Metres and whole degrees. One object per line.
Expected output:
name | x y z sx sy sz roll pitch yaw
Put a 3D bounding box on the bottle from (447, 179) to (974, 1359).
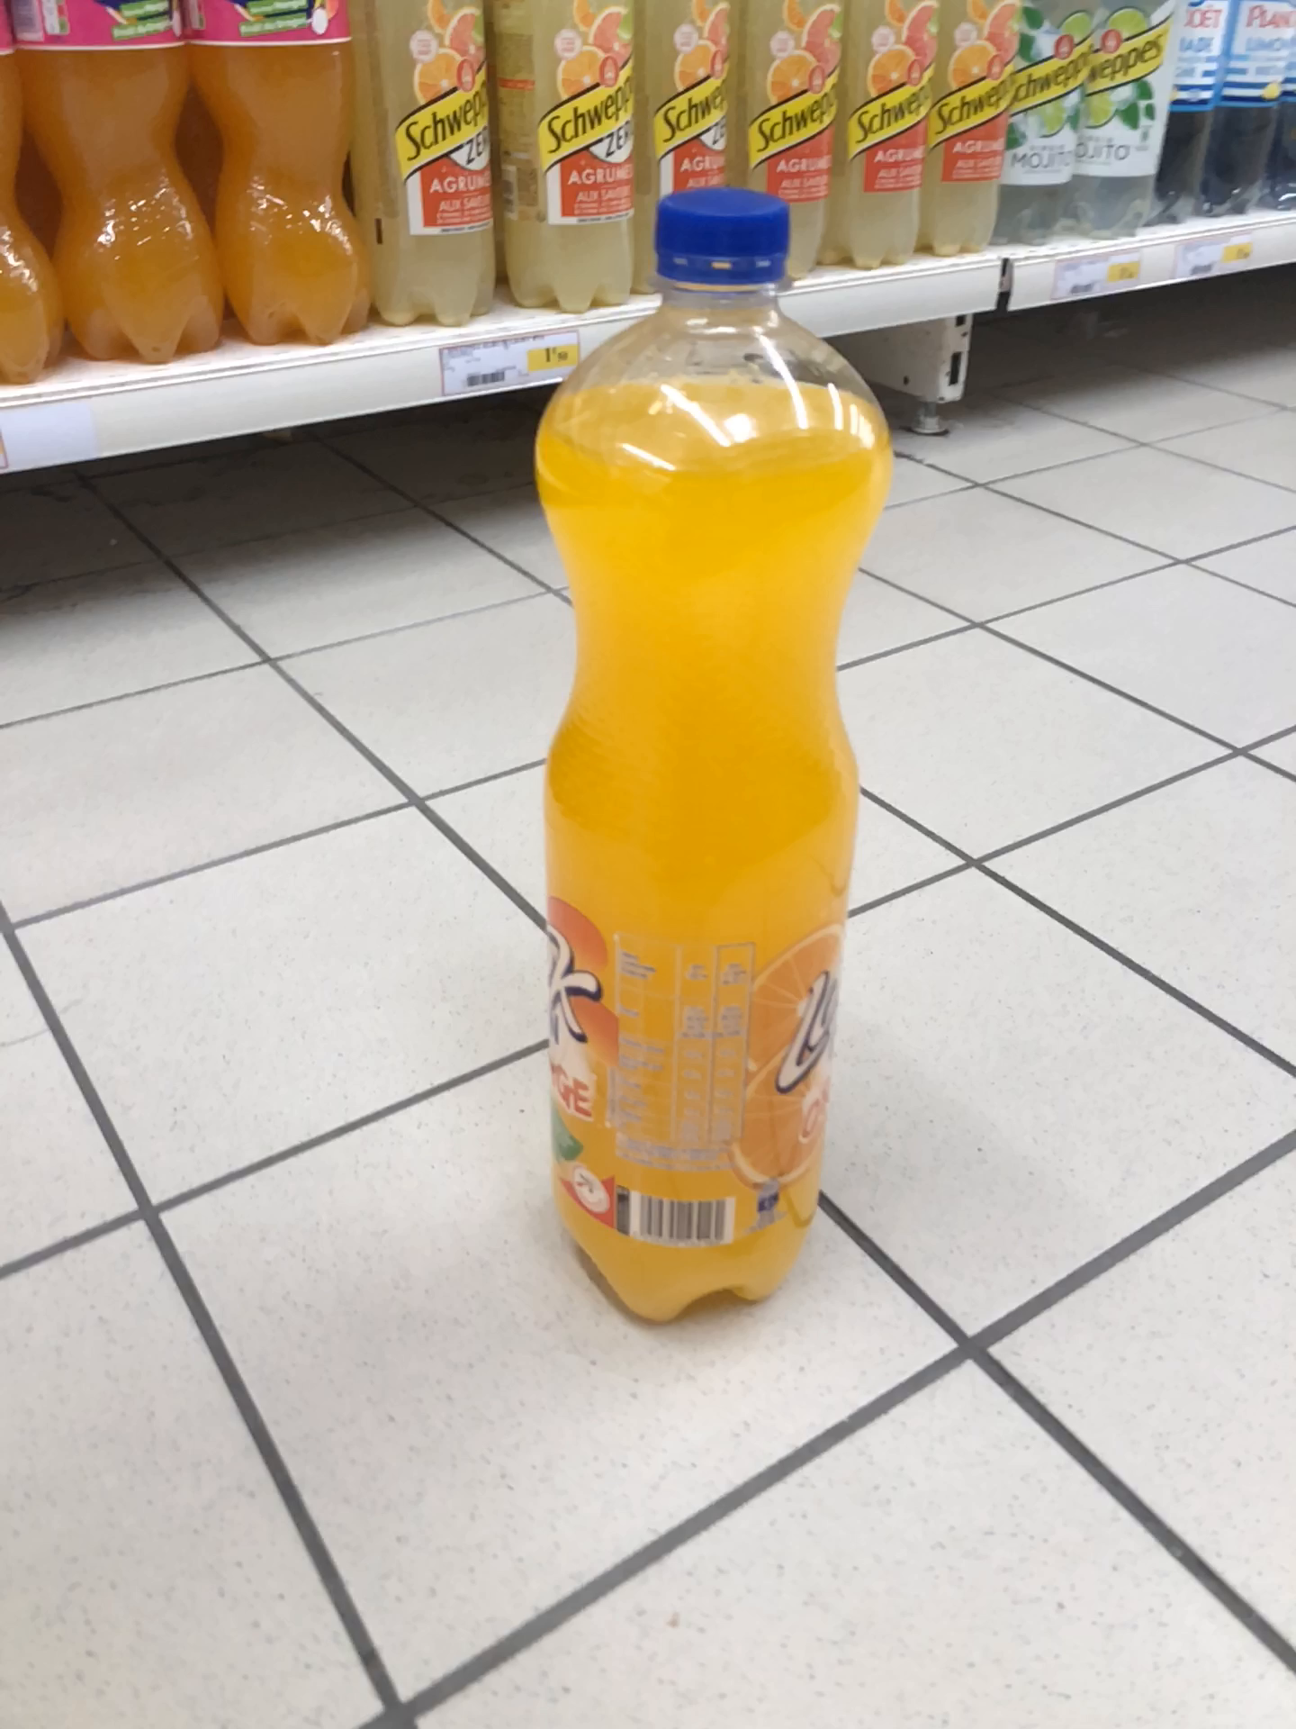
bottle | 0.019 -0.016 0.392 0.100 0.298 0.111 6 33 9
